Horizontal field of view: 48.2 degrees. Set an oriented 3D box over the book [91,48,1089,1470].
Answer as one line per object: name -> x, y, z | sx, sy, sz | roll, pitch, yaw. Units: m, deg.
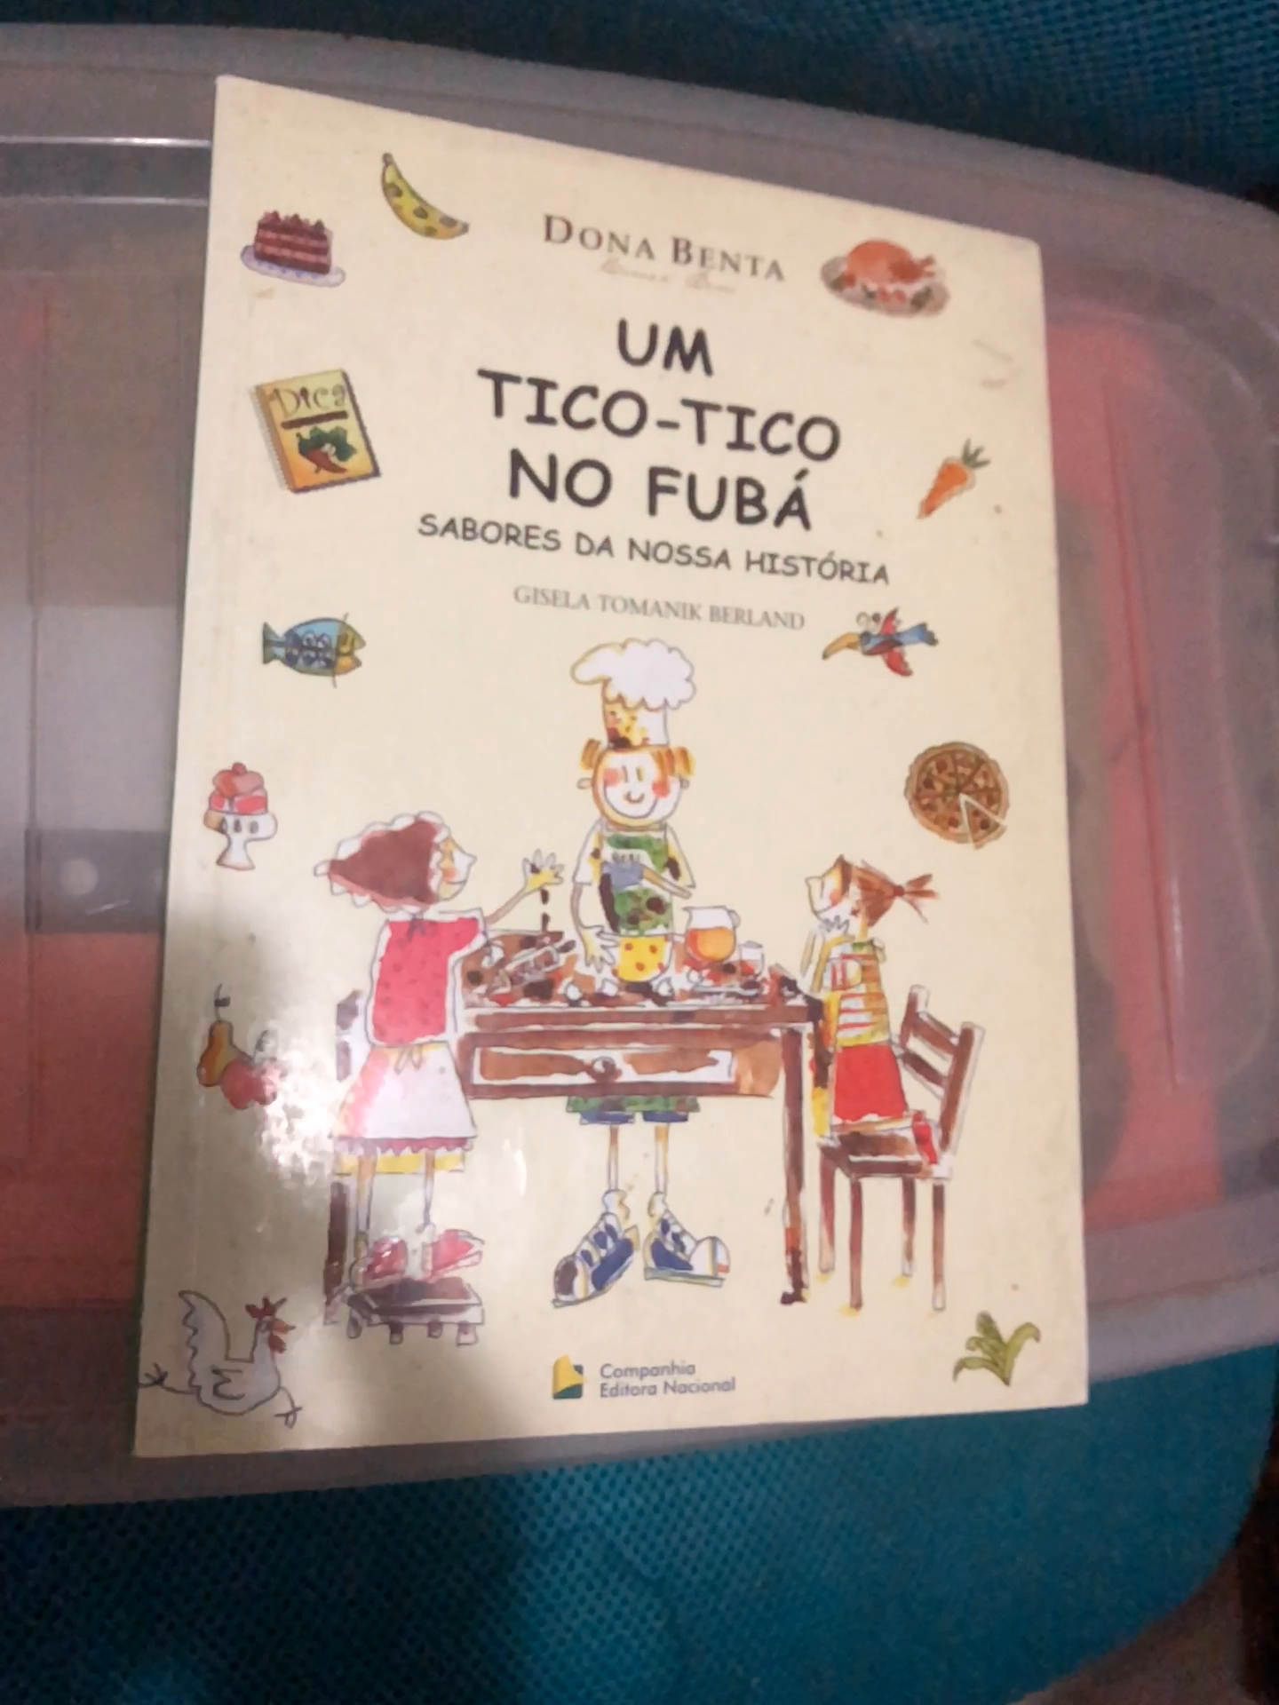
book -> 0.000, -0.017, 0.264 | 0.172, 0.020, 0.232 | 4, 81, -17
